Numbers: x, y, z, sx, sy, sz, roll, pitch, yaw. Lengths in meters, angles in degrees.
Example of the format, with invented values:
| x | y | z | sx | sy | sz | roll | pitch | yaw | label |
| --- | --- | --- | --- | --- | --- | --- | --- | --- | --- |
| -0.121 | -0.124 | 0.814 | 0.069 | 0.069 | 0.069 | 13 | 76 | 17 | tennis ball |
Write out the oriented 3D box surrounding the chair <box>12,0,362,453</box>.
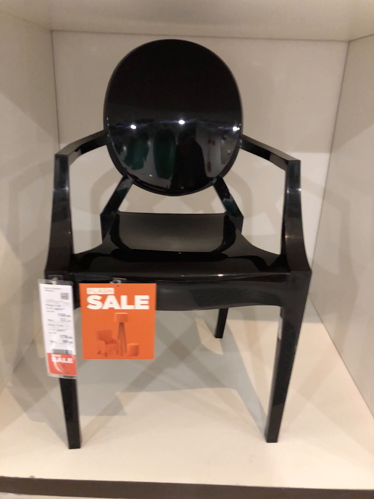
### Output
| x | y | z | sx | sy | sz | roll | pitch | yaw | label |
| --- | --- | --- | --- | --- | --- | --- | --- | --- | --- |
| -0.022 | -0.053 | 0.980 | 0.510 | 0.854 | 0.493 | 0 | 21 | -4 | chair |
